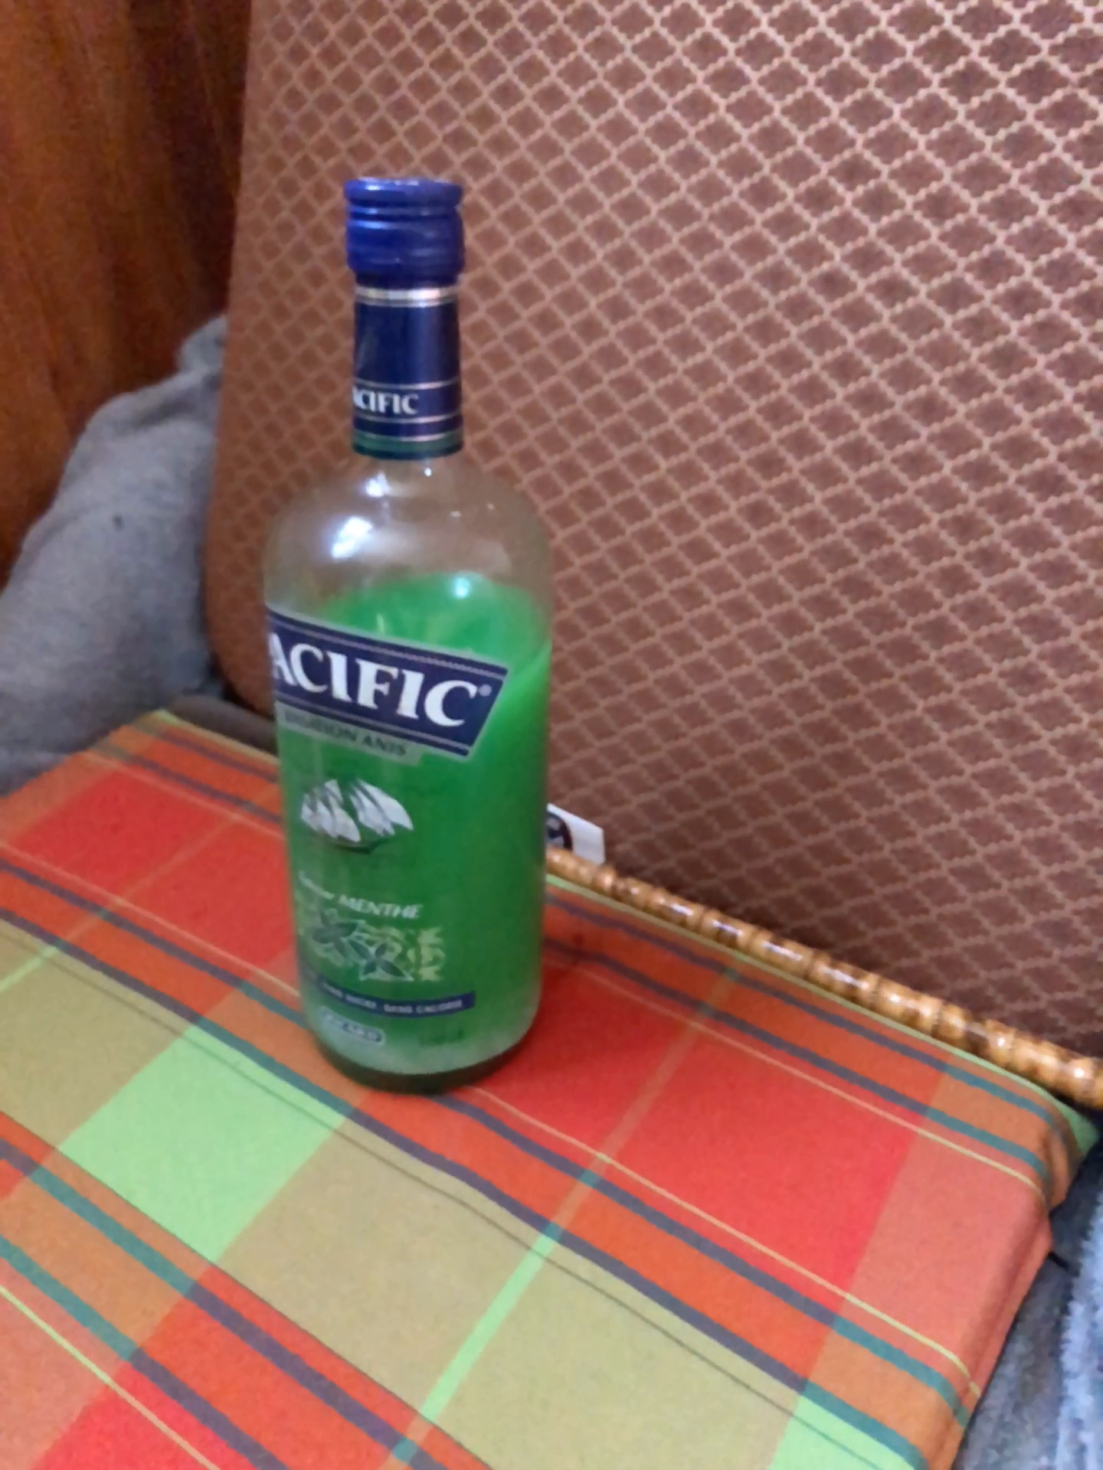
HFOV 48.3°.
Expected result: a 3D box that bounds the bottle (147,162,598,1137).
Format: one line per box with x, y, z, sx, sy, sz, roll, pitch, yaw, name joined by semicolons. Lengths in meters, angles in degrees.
-0.047;-0.021;0.392;0.090;0.288;0.080;13;29;22;bottle
